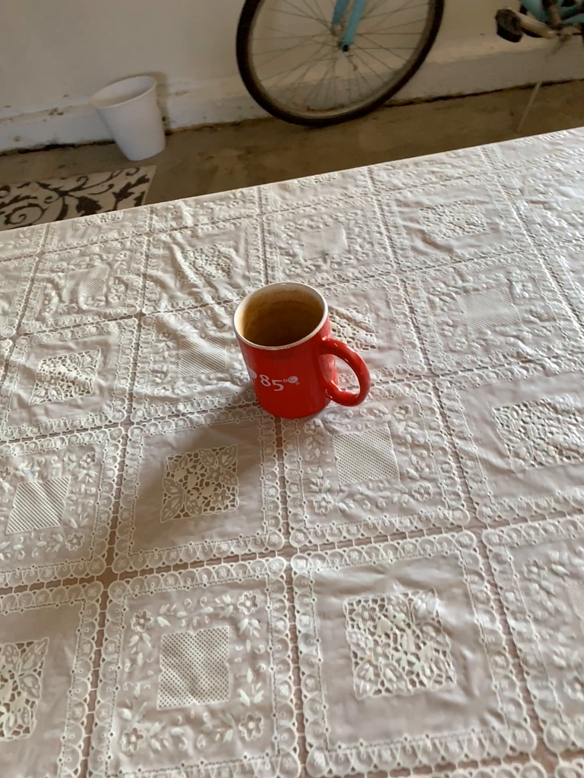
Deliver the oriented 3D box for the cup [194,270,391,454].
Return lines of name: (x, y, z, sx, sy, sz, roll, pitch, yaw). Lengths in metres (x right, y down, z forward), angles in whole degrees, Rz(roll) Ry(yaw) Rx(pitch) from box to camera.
cup: (0.006, -0.025, 0.513, 0.130, 0.090, 0.090, 18, 58, 24)
